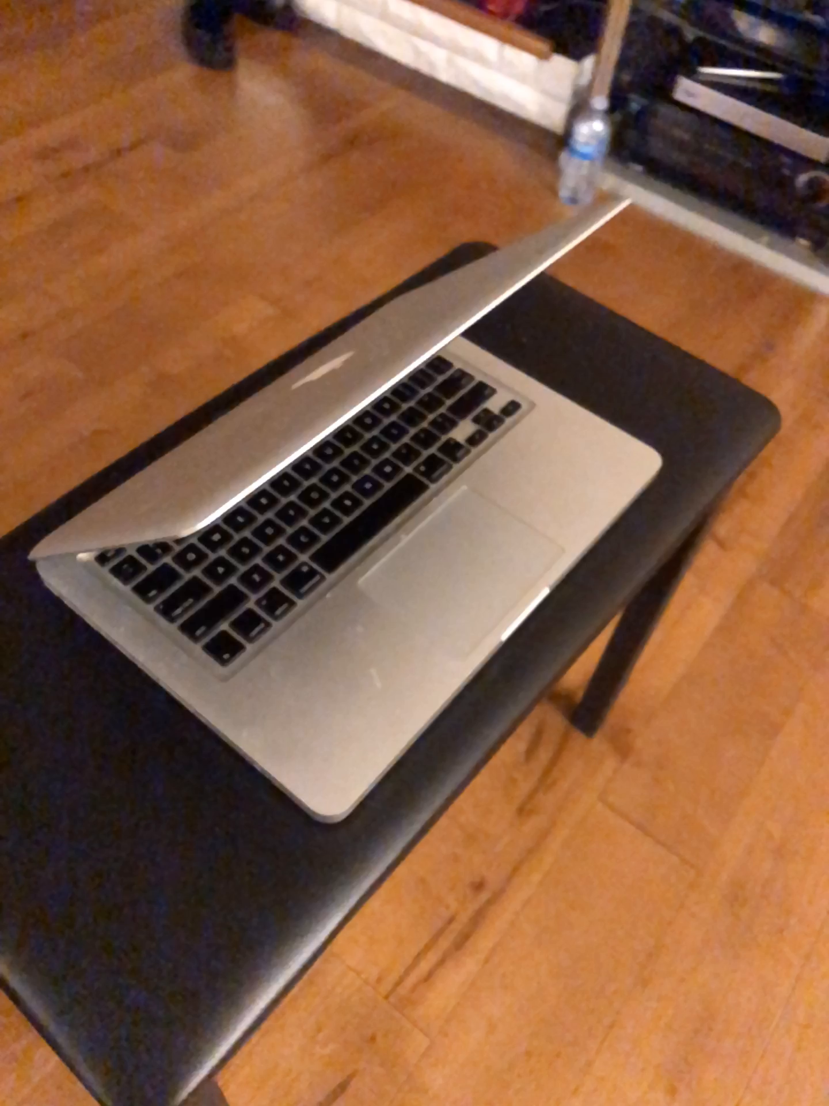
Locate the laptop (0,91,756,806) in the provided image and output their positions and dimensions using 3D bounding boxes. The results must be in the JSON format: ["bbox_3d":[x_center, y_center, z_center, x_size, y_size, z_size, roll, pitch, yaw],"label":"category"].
[{"bbox_3d":[-0.019,-0.073,0.481,0.209,0.144,0.310,37,61,20],"label":"laptop"}]
